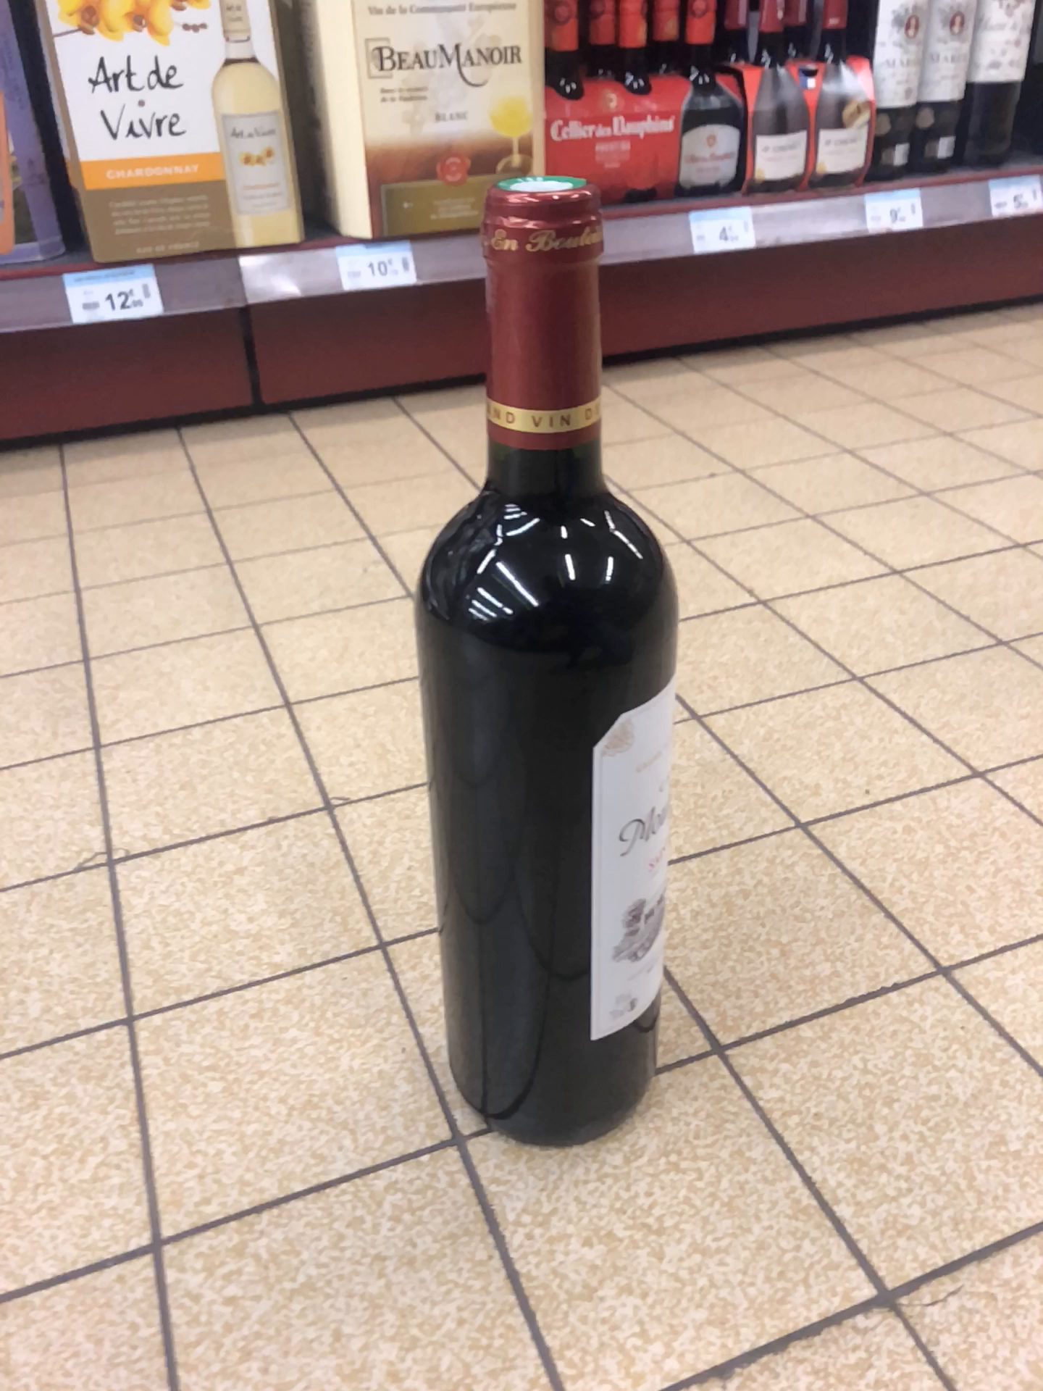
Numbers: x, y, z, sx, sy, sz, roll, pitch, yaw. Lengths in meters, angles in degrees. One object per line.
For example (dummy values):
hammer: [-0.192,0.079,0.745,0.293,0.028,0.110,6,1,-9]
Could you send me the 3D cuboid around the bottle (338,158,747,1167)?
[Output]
bottle: [0.012,0.006,0.329,0.080,0.281,0.081,-1,31,1]
